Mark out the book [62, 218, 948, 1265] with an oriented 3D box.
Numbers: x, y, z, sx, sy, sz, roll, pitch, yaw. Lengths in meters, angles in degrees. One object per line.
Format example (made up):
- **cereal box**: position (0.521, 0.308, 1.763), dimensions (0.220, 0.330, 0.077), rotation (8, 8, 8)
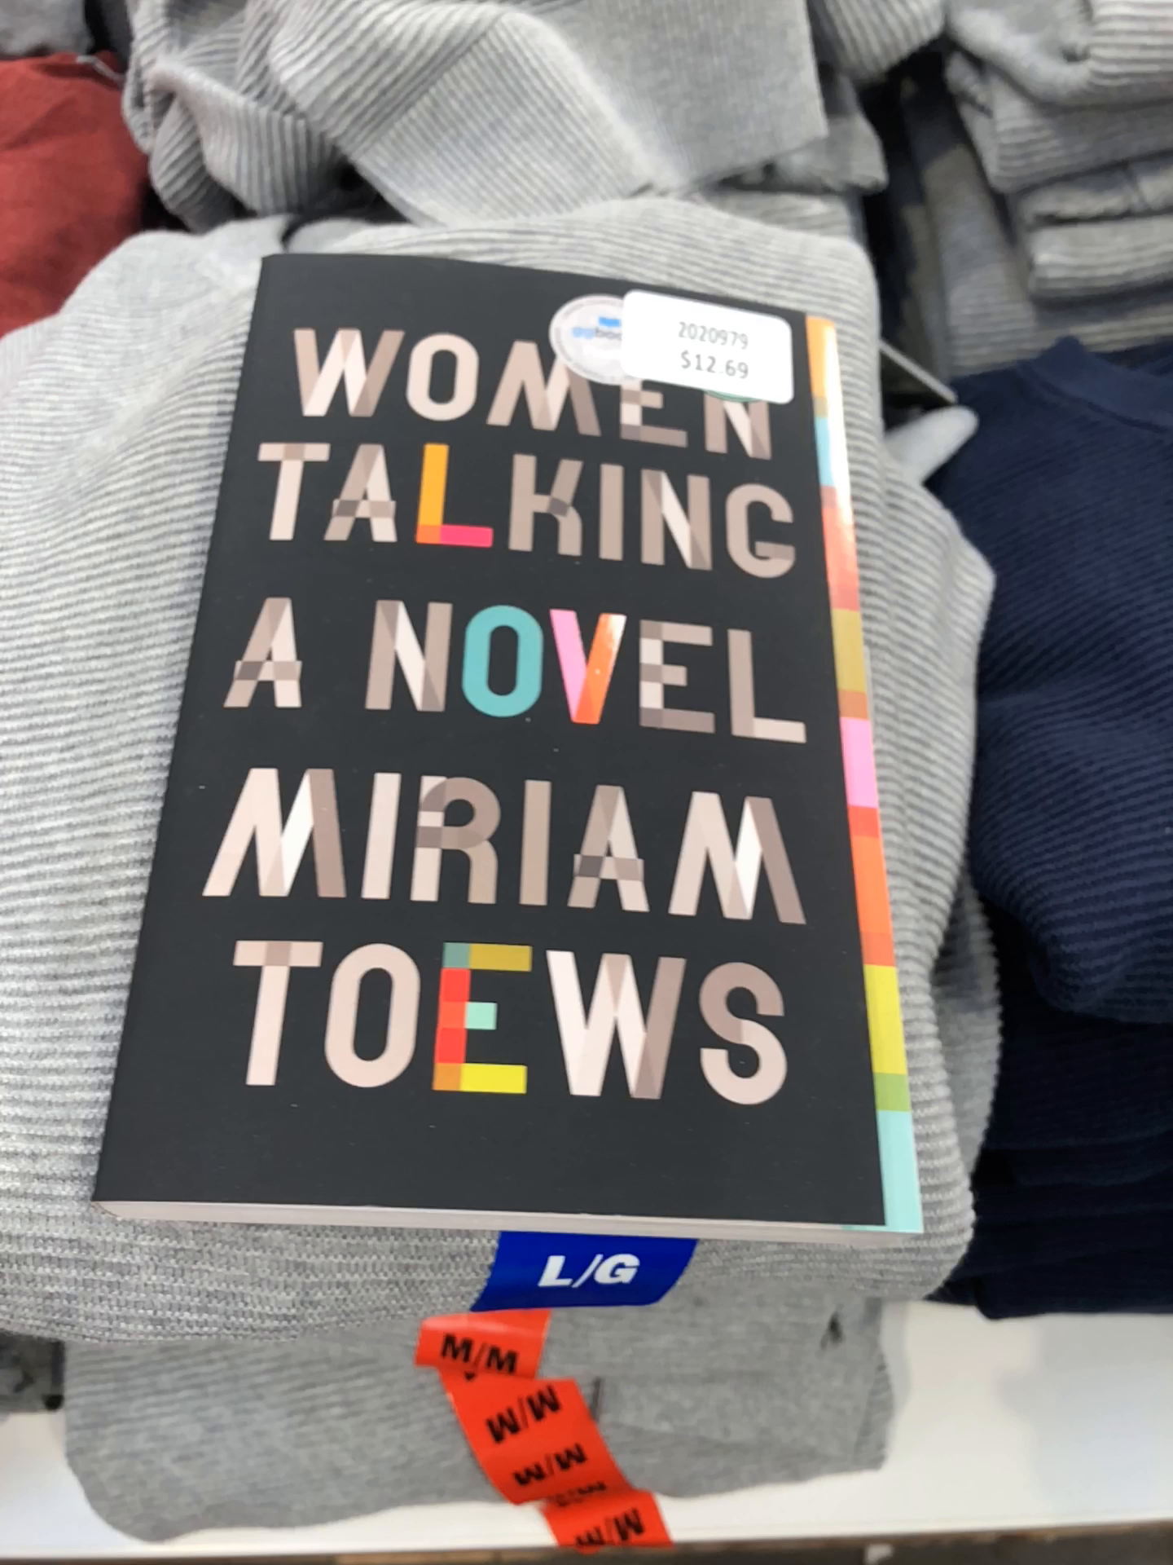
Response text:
- **book**: position (-0.010, -0.021, 0.256), dimensions (0.135, 0.020, 0.211), rotation (3, 64, -4)
